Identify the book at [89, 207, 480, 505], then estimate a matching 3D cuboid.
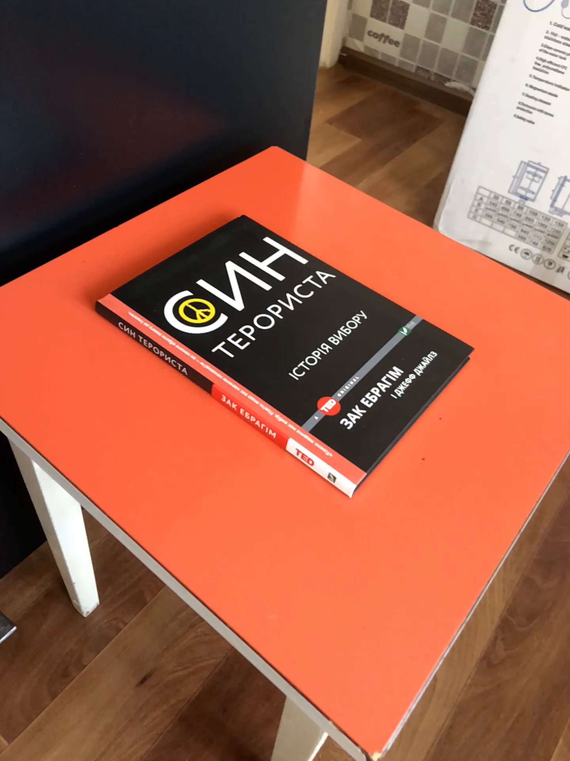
[{"bbox_3d":[0.000,-0.031,0.391,0.198,0.016,0.141,34,53,21],"label":"book"}]
